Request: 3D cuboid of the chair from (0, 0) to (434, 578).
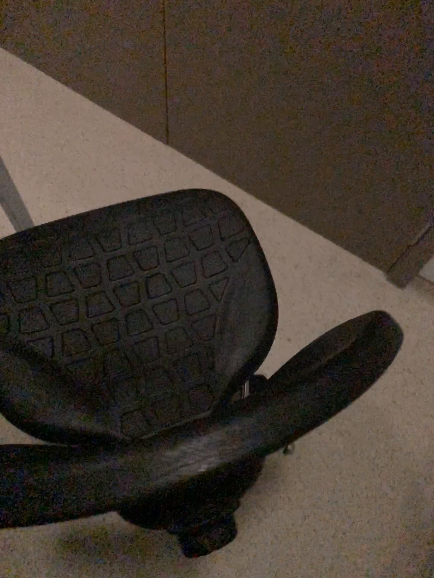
[{"bbox_3d":[-0.101,0.038,0.698,0.621,0.935,0.673,-16,66,-13],"label":"chair"}]
